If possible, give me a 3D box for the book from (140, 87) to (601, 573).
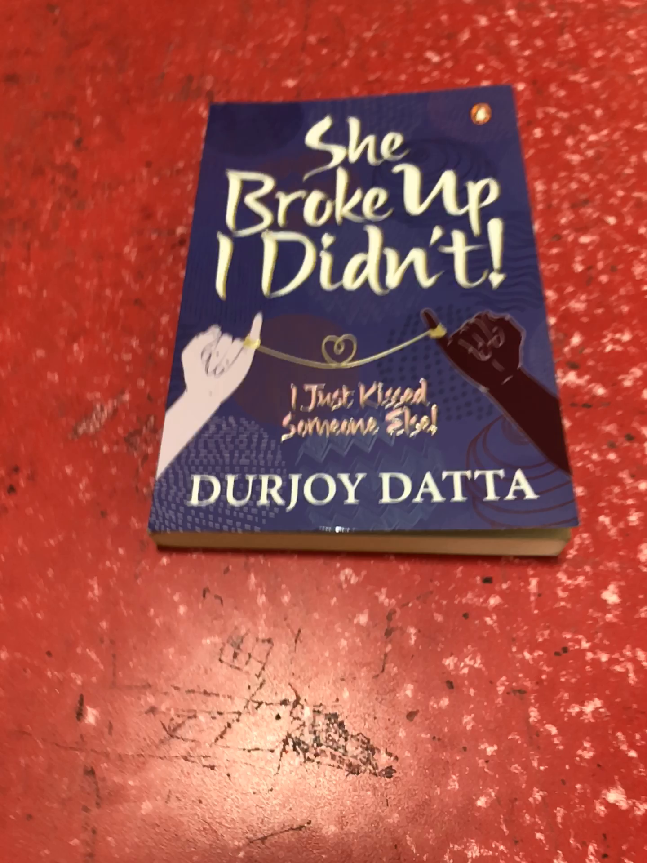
[{"bbox_3d":[0.016,-0.048,0.269,0.130,0.040,0.190,1,61,2],"label":"book"}]
